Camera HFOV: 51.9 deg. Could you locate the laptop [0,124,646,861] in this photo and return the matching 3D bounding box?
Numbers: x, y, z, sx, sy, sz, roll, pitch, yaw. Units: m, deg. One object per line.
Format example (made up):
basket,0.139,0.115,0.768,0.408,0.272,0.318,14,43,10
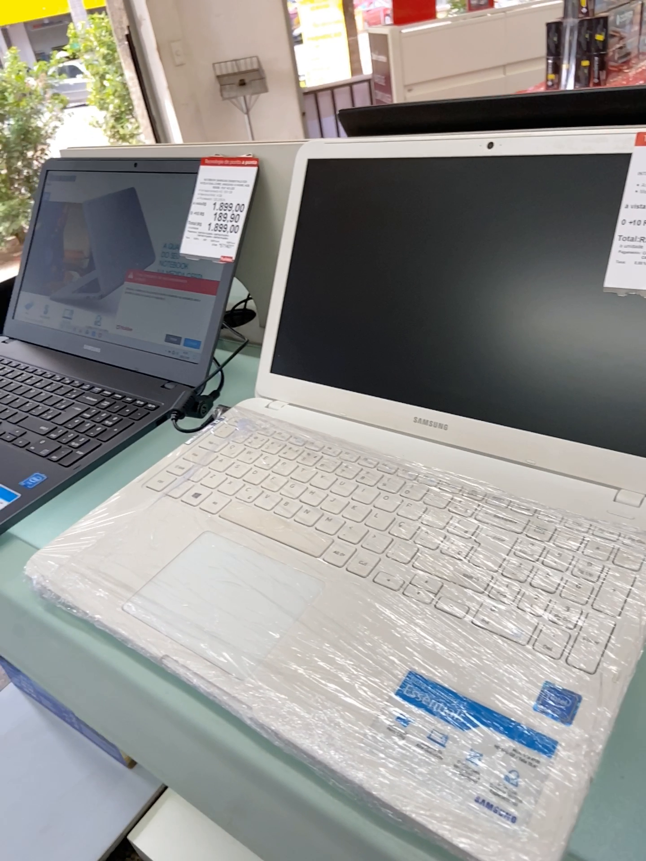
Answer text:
laptop,0.034,-0.041,0.436,0.376,0.192,0.382,15,42,35
